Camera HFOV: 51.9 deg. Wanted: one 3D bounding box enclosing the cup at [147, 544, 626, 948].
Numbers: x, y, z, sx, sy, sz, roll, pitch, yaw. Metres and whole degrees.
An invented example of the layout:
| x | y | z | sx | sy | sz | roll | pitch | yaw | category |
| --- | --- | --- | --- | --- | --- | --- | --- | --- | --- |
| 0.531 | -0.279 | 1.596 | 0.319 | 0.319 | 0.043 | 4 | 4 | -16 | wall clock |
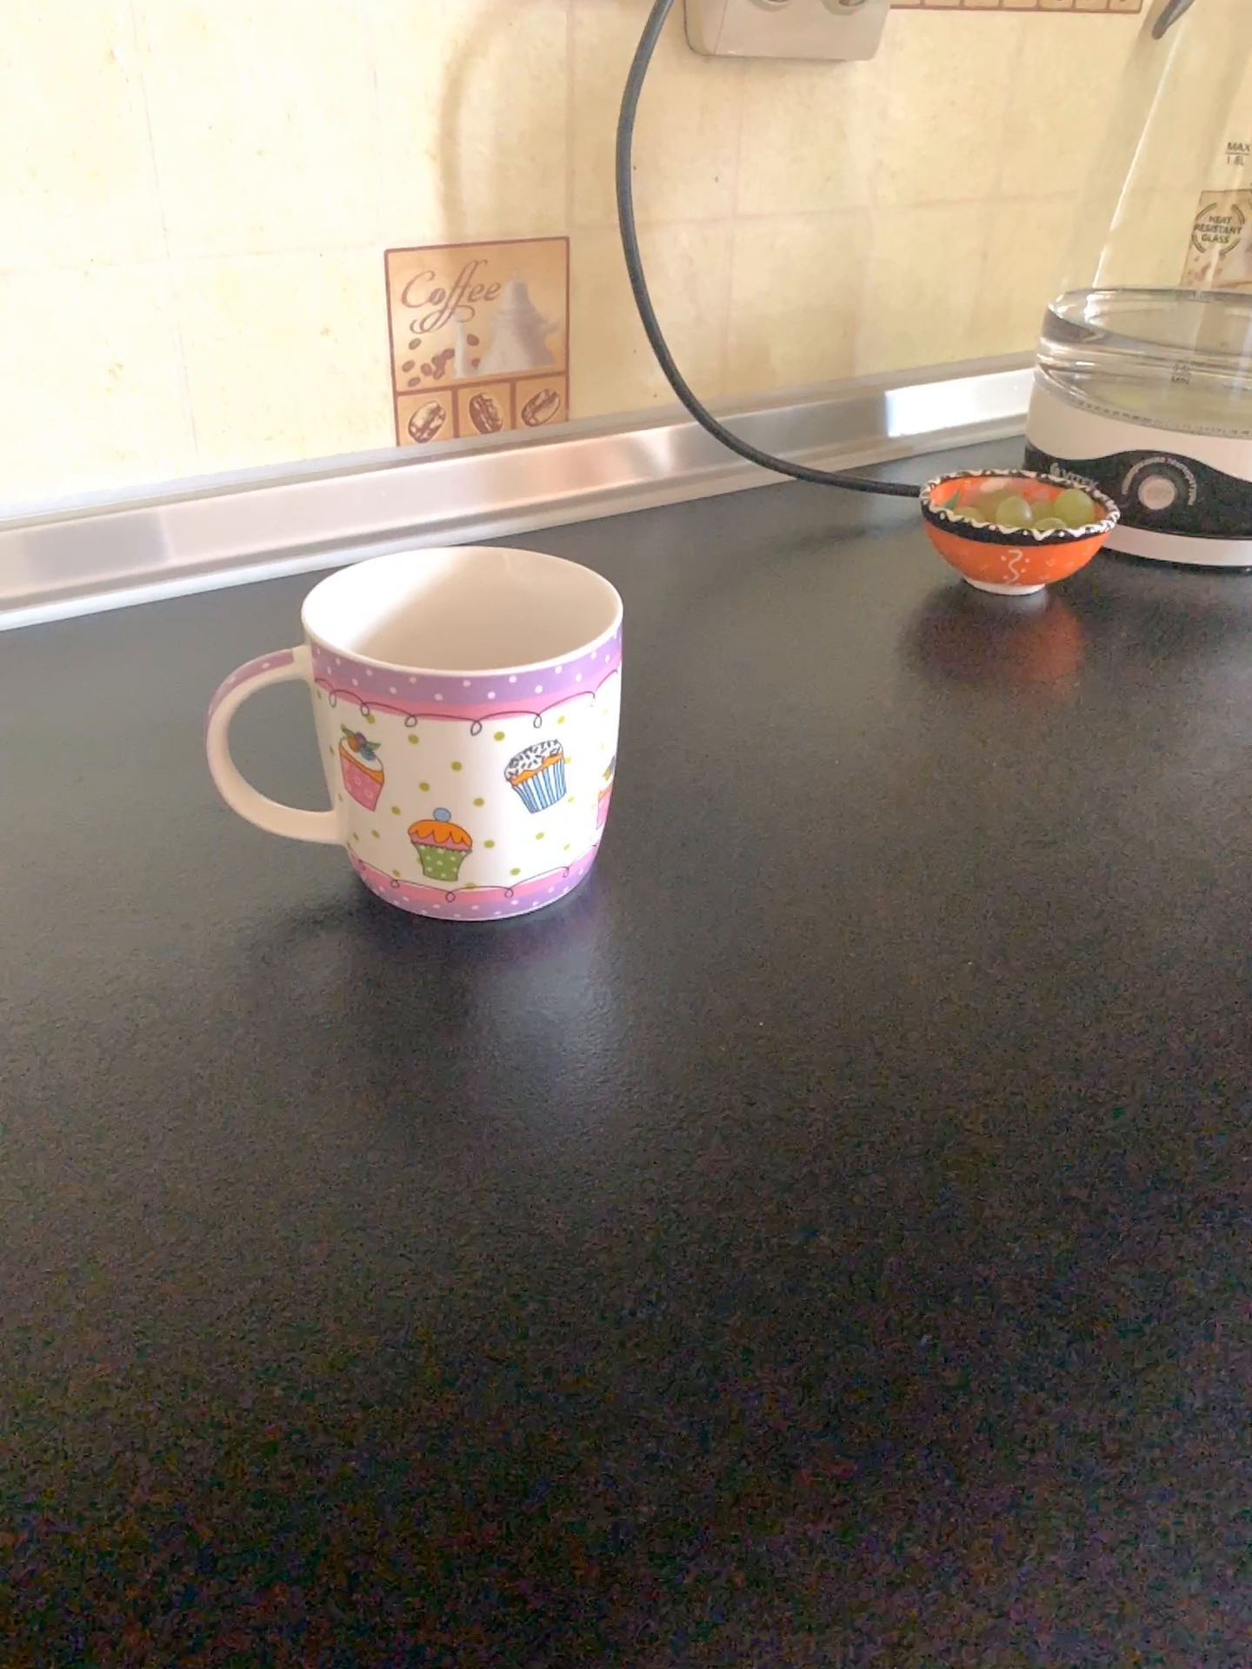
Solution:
| x | y | z | sx | sy | sz | roll | pitch | yaw | category |
| --- | --- | --- | --- | --- | --- | --- | --- | --- | --- |
| -0.061 | -0.027 | 0.355 | 0.110 | 0.080 | 0.080 | -2 | 32 | -7 | cup |
